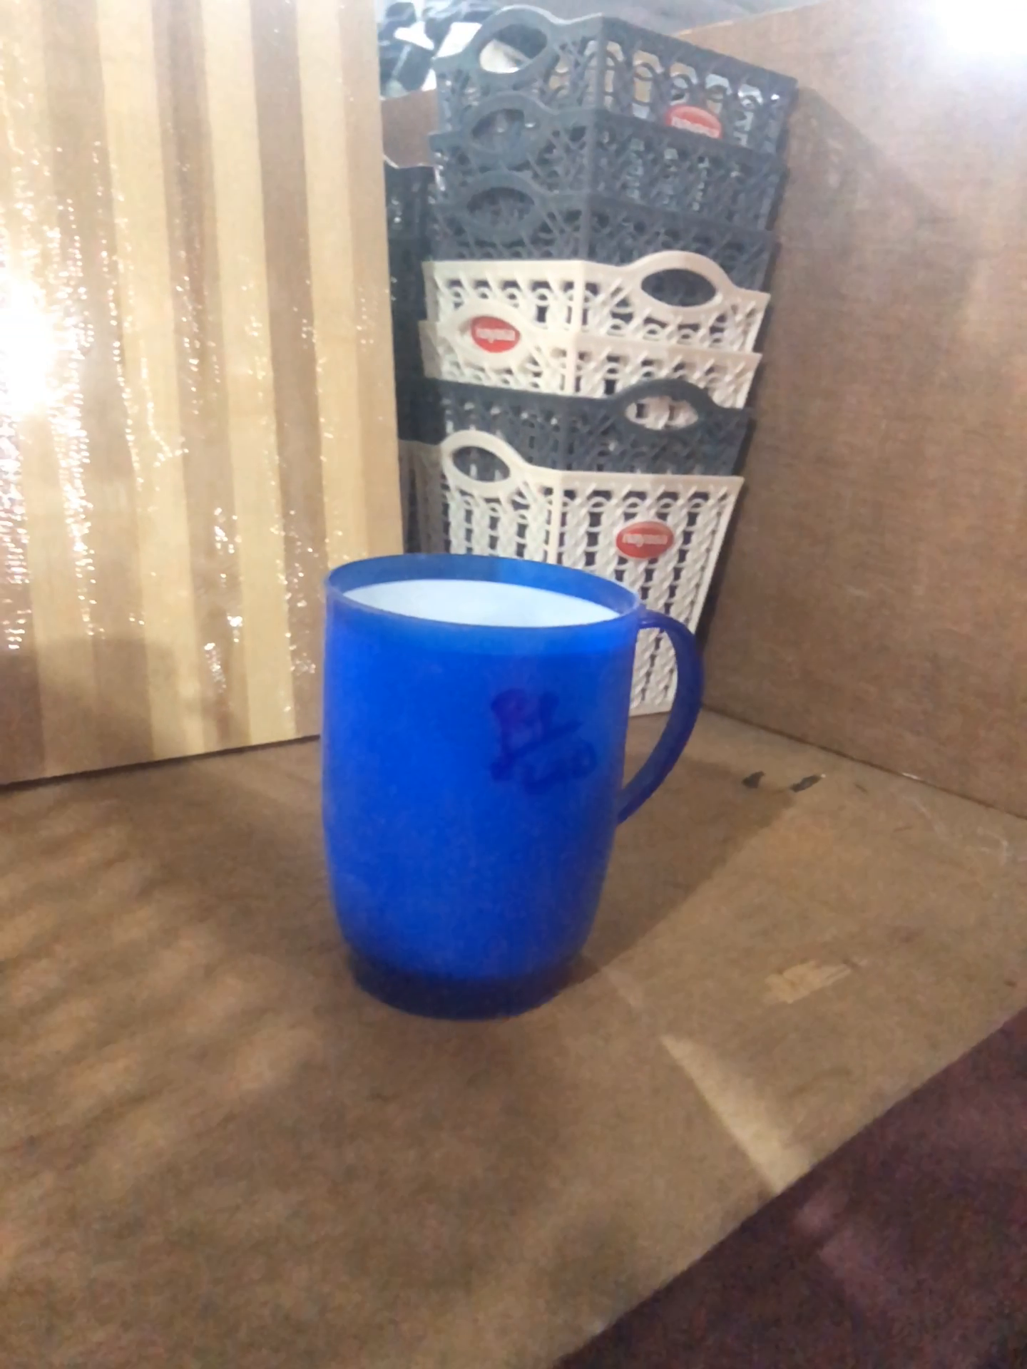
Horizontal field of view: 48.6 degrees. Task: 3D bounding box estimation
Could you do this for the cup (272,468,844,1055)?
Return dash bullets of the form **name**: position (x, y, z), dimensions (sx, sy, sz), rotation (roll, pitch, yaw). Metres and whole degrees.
- **cup**: position (0.008, 0.008, 0.277), dimensions (0.110, 0.110, 0.070), rotation (-7, 21, -33)
